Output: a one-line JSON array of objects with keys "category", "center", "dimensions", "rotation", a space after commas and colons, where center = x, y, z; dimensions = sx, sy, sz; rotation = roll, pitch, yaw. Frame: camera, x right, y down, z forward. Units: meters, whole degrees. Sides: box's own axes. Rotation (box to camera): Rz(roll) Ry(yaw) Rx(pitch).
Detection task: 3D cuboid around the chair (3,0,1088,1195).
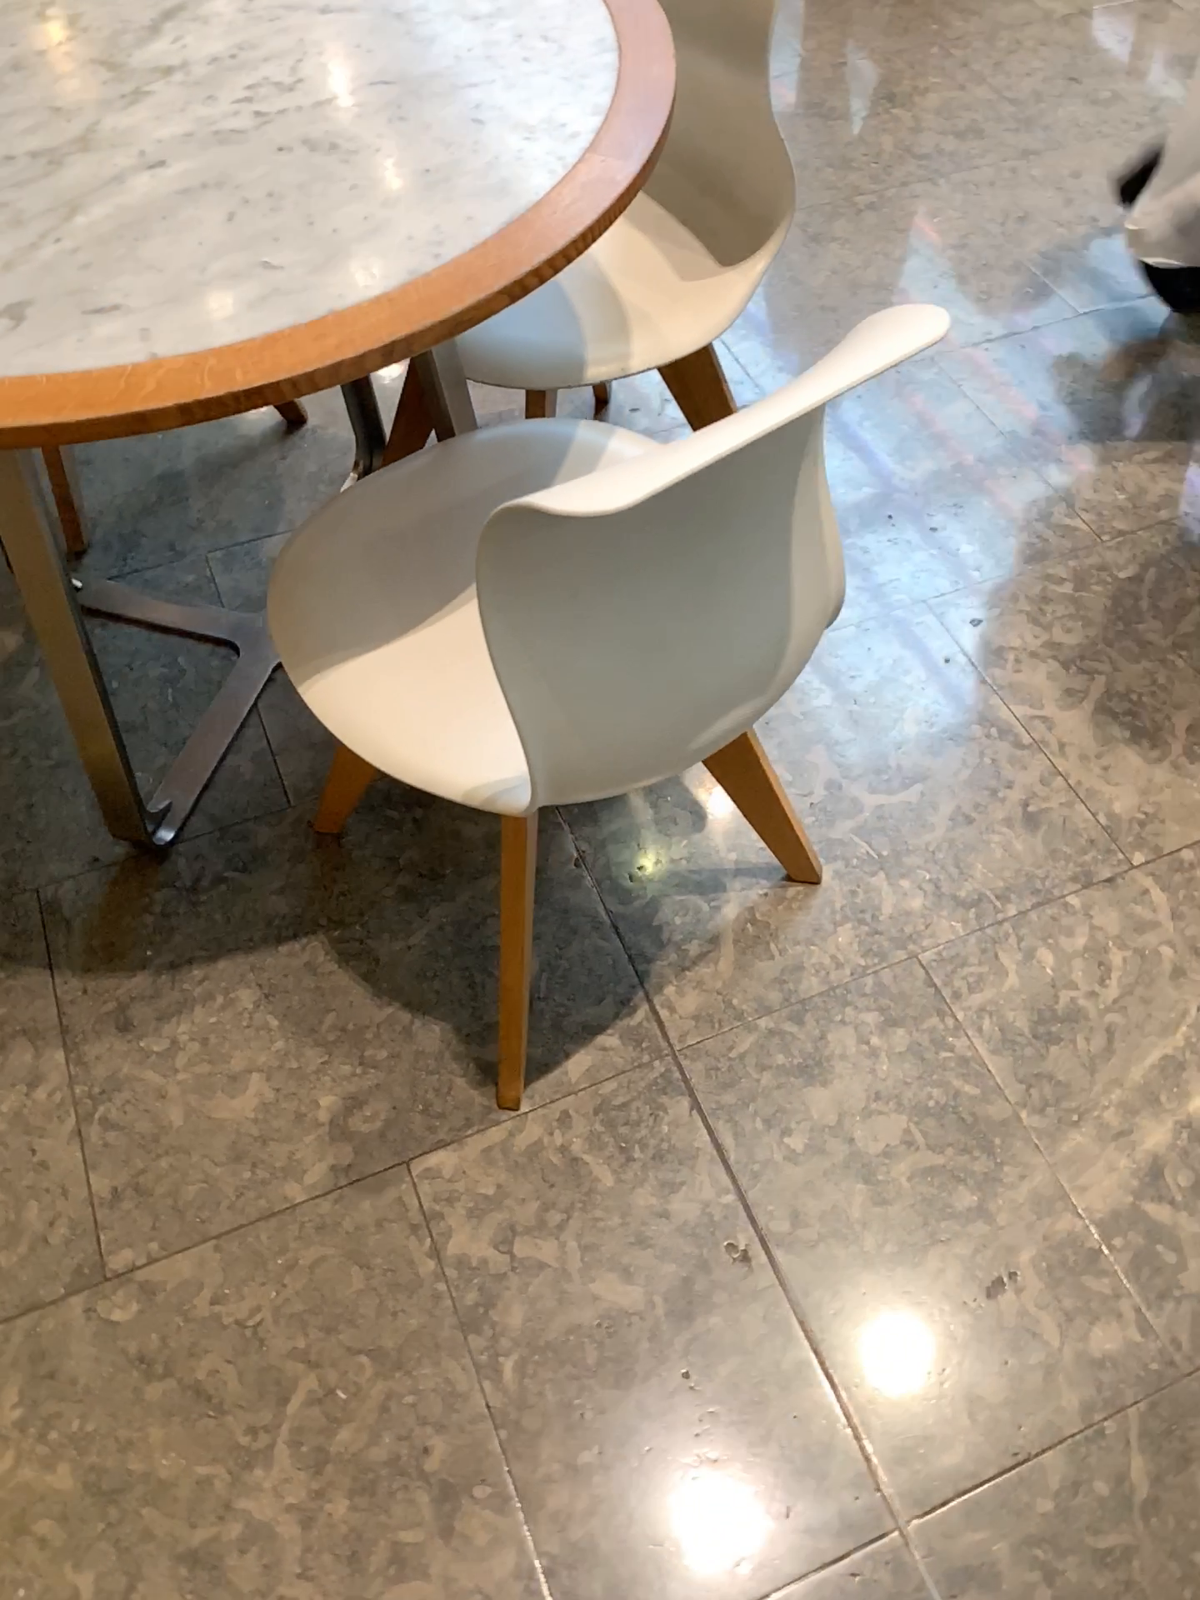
[{"category": "chair", "center": [-0.054, -0.124, 1.187], "dimensions": [0.501, 0.913, 0.543], "rotation": [-32, 61, -21]}]
